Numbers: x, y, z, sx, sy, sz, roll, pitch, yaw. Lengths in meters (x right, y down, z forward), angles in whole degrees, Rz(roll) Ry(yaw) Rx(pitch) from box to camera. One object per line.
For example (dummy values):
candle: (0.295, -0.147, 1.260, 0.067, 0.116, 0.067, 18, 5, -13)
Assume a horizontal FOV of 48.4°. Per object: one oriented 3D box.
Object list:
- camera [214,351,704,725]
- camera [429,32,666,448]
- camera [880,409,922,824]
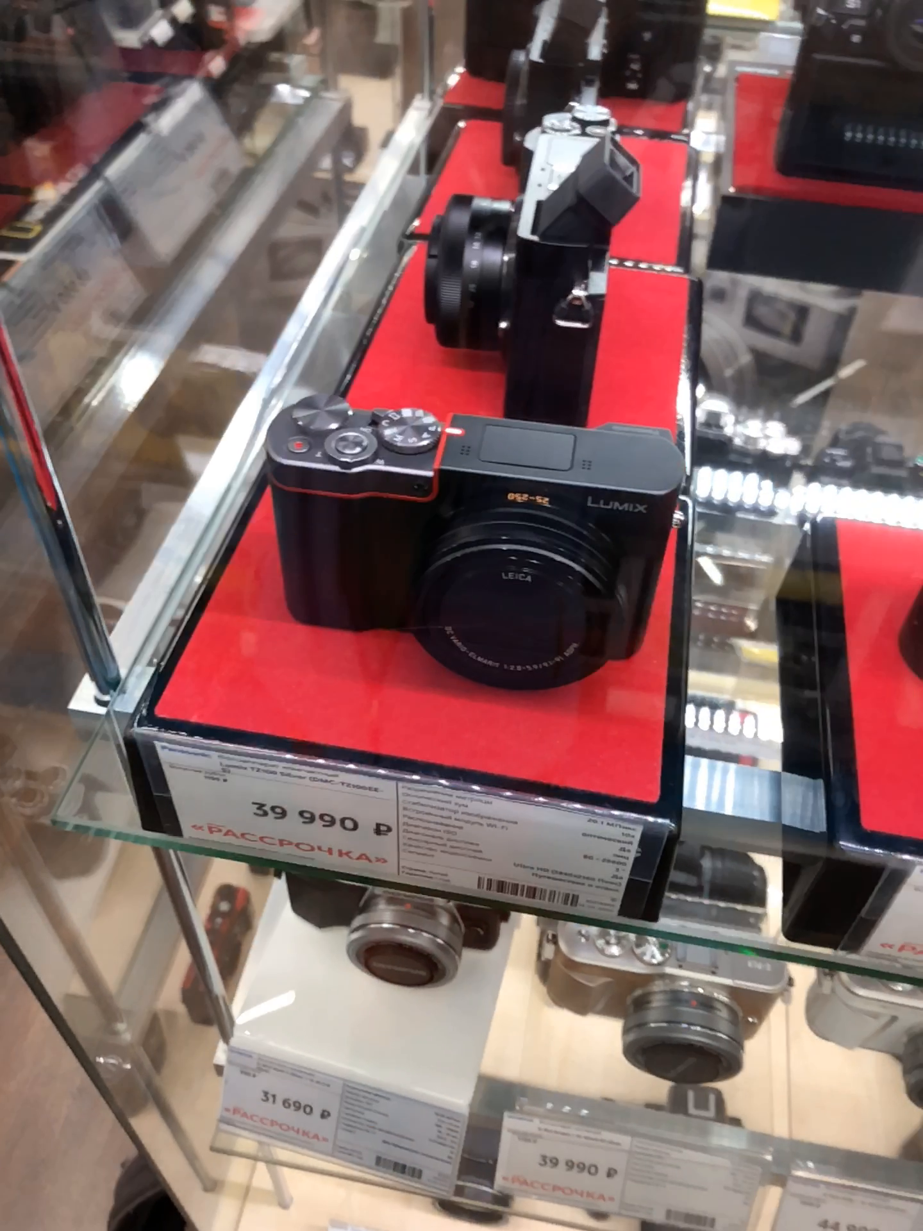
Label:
camera: (0.001, -0.020, 0.277, 0.113, 0.070, 0.050, 9, 47, 6)
camera: (0.032, -0.142, 0.385, 0.069, 0.101, 0.113, 8, 47, 5)
camera: (0.176, 0.000, 0.259, 0.113, 0.070, 0.051, 11, 47, 8)
